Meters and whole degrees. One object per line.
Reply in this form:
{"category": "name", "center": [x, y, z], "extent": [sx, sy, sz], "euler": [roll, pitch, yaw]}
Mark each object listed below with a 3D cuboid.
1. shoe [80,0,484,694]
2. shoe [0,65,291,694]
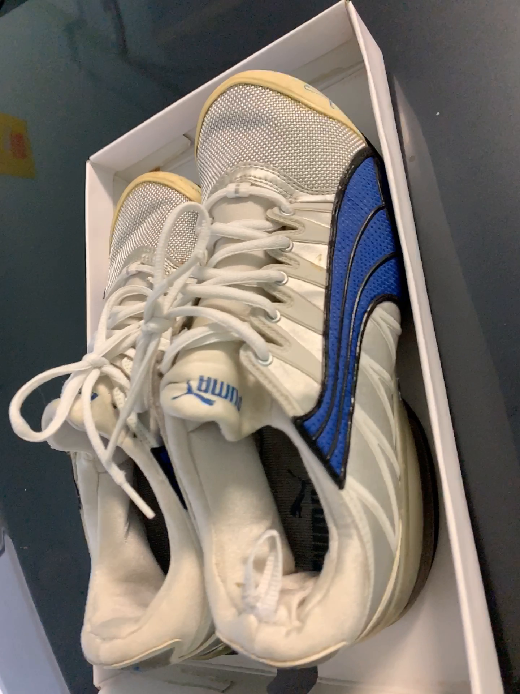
{"category": "shoe", "center": [0.010, -0.017, 0.239], "extent": [0.110, 0.089, 0.281], "euler": [-14, 64, 33]}
{"category": "shoe", "center": [-0.063, 0.008, 0.289], "extent": [0.110, 0.089, 0.282], "euler": [-18, 63, 31]}
